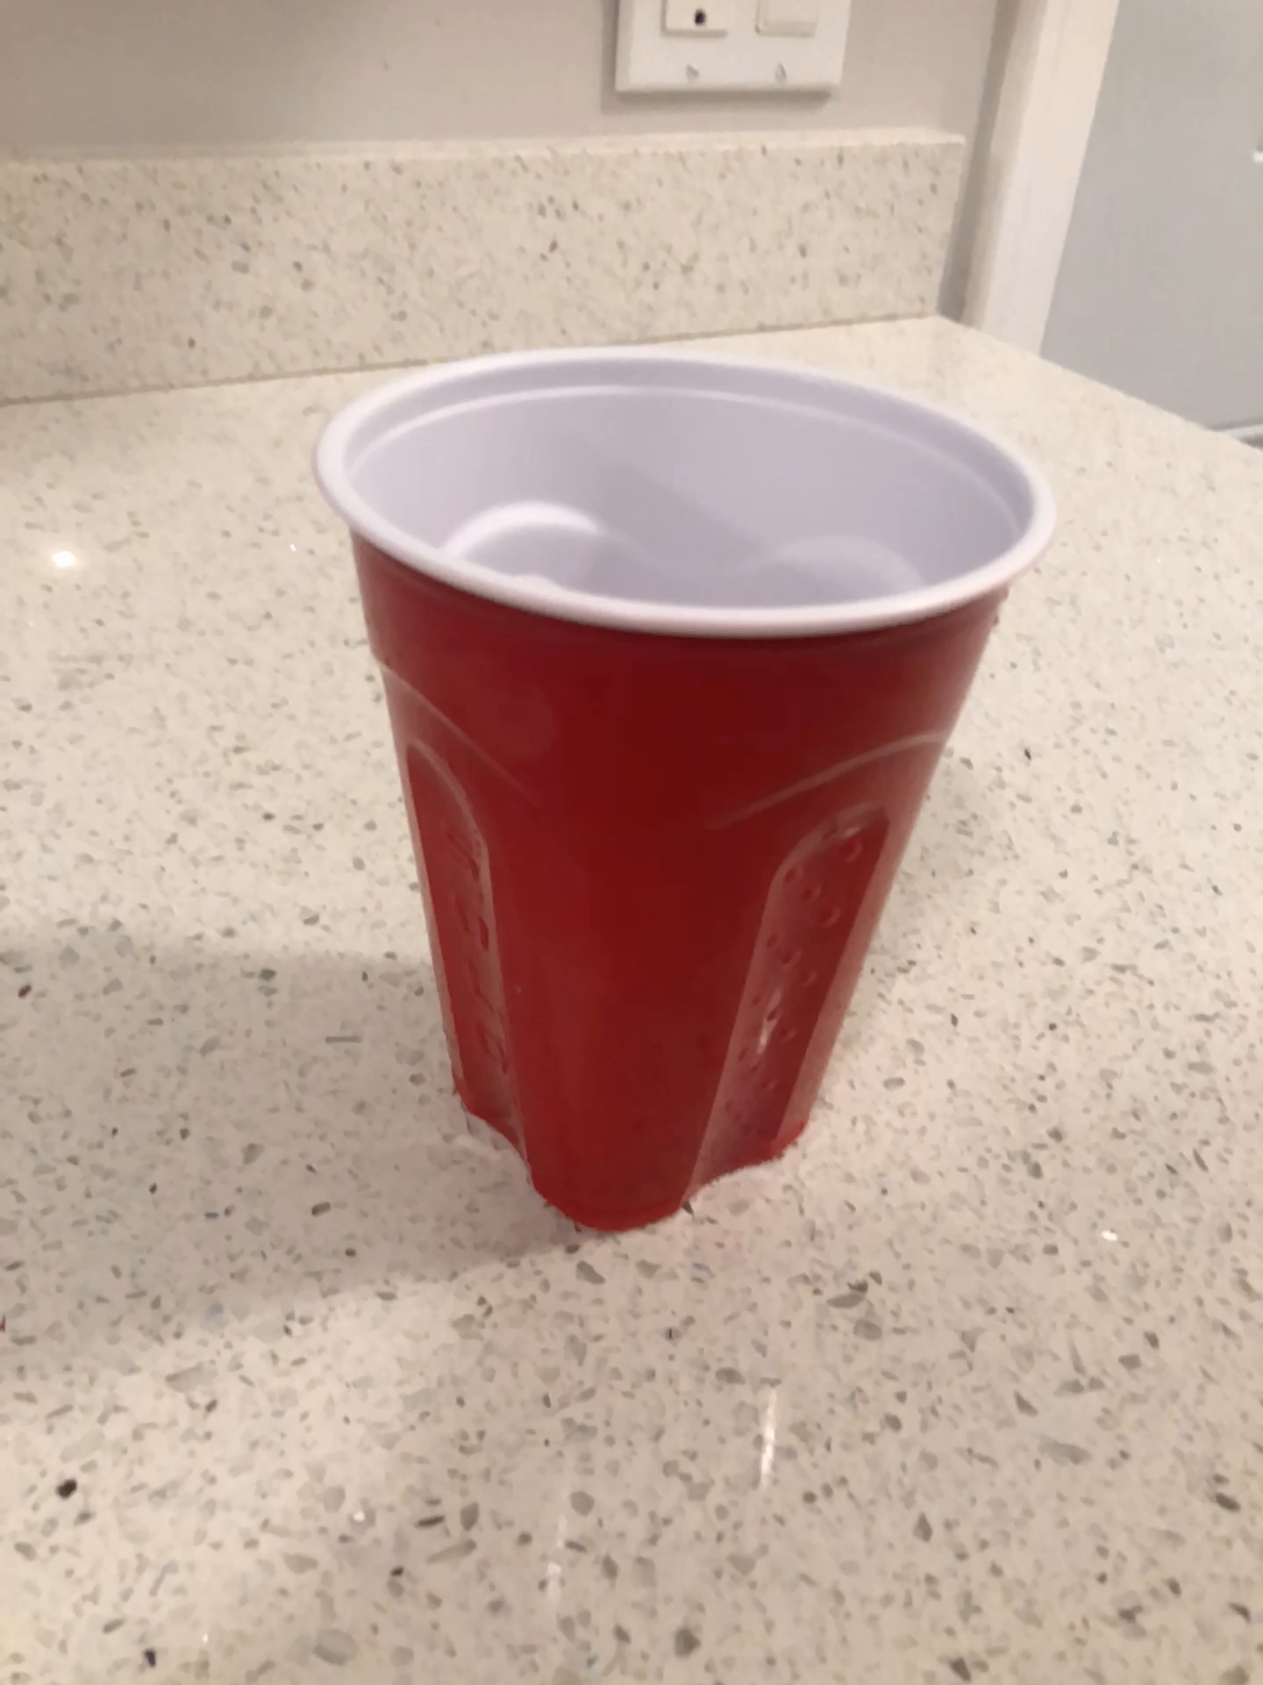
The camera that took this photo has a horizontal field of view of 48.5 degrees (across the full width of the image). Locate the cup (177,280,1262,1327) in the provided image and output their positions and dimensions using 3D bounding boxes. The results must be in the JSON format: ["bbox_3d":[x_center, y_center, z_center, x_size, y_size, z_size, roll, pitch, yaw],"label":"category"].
[{"bbox_3d":[0.006,-0.017,0.207,0.100,0.092,0.102,3,36,-2],"label":"cup"}]
